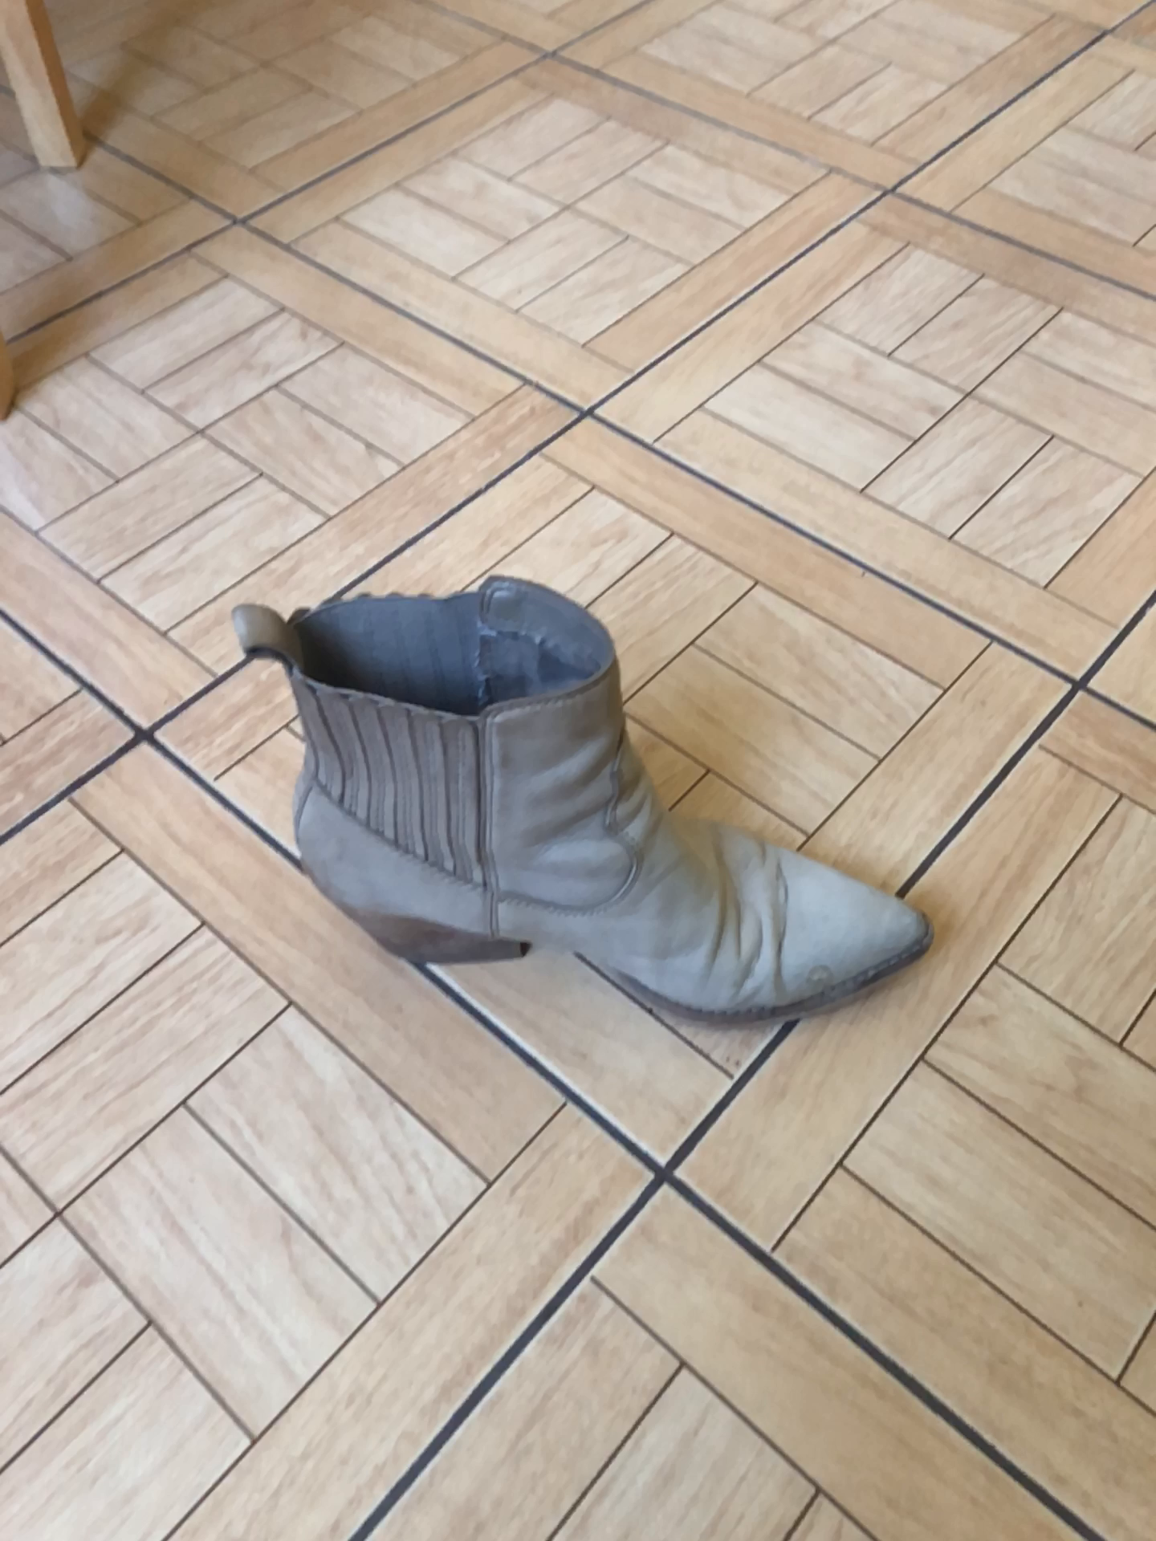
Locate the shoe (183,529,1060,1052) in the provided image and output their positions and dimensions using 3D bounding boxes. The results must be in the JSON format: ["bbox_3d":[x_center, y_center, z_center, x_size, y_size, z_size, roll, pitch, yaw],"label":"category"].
[{"bbox_3d":[0.014,0.015,0.476,0.260,0.180,0.090,4,53,3],"label":"shoe"}]
